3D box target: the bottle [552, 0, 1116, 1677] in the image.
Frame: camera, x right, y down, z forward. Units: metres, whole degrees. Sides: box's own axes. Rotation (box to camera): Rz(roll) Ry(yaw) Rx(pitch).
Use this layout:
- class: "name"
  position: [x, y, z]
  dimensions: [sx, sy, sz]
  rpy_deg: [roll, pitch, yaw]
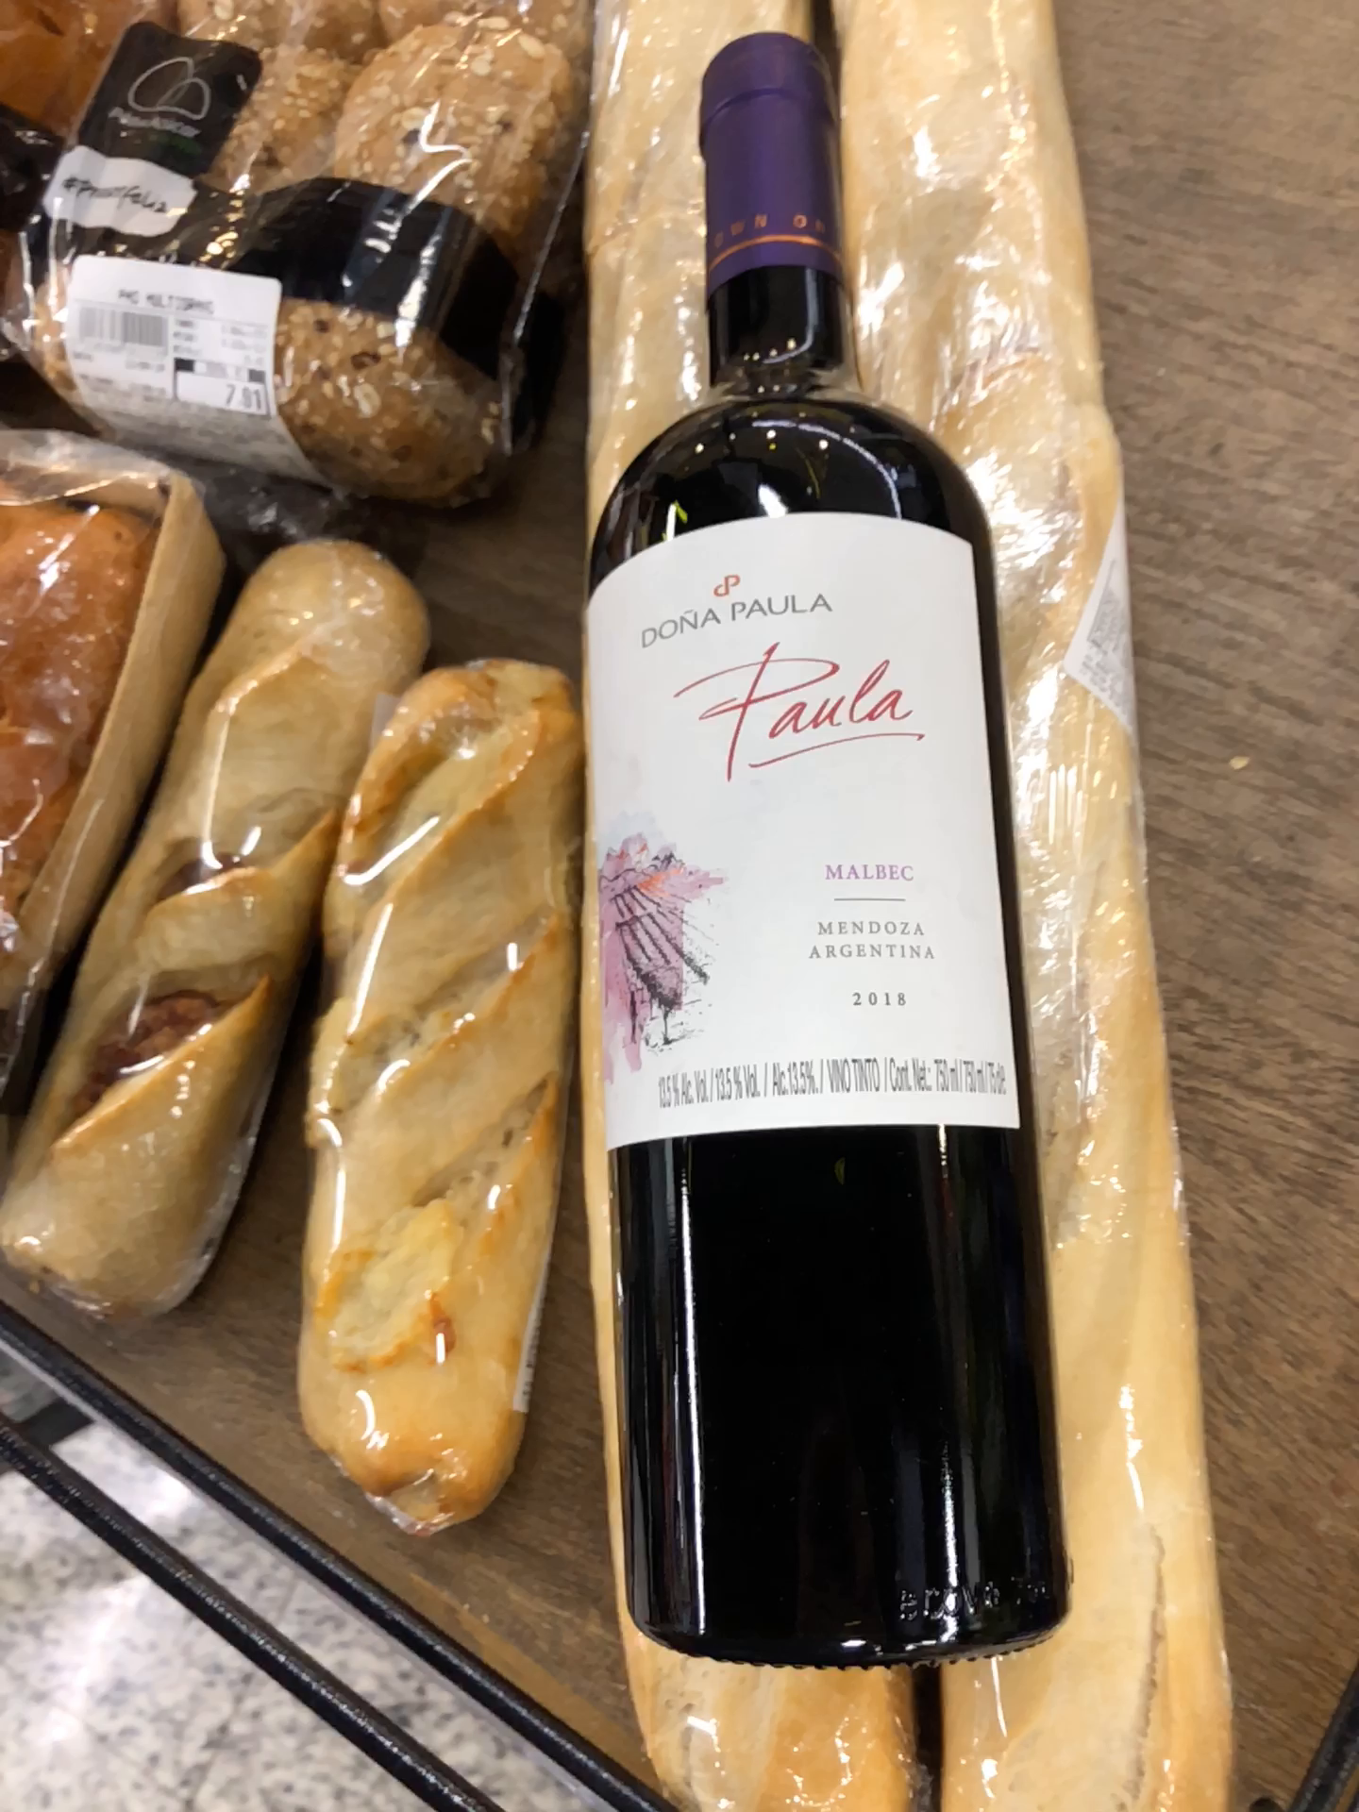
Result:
- class: "bottle"
  position: [0.023, -0.036, 0.269]
  dimensions: [0.070, 0.060, 0.300]
  rpy_deg: [-7, 74, 16]
